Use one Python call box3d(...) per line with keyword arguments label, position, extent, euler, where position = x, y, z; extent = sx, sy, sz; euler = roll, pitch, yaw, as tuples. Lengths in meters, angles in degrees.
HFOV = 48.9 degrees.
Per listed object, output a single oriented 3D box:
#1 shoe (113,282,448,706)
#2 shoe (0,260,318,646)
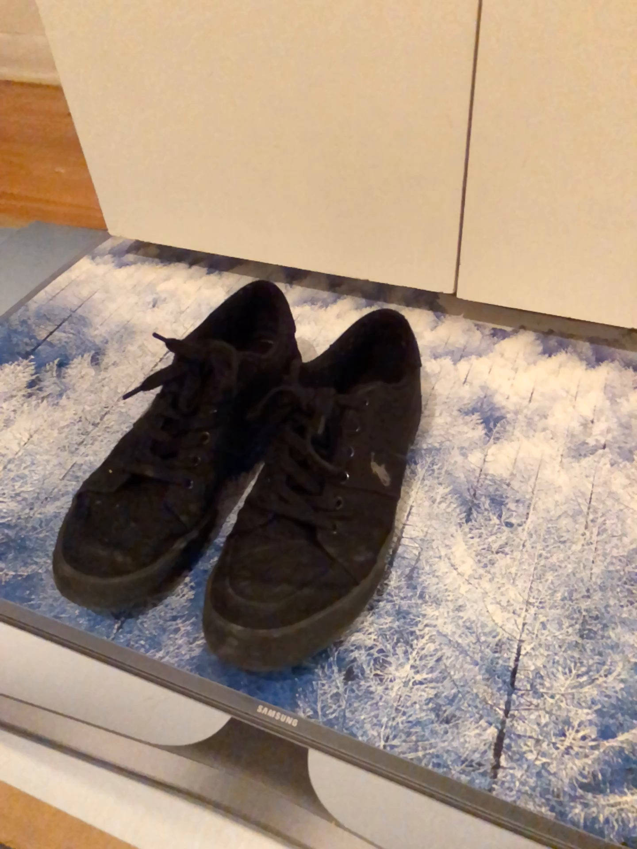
box3d(label="shoe", position=(-0.005, 0.029, 0.481), extent=(0.110, 0.109, 0.262), euler=(15, 48, 19))
box3d(label="shoe", position=(-0.108, 0.004, 0.528), extent=(0.110, 0.109, 0.272), euler=(15, 48, 19))
